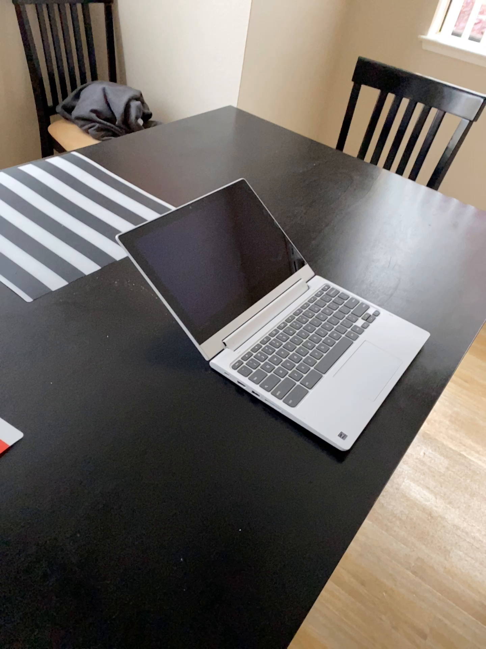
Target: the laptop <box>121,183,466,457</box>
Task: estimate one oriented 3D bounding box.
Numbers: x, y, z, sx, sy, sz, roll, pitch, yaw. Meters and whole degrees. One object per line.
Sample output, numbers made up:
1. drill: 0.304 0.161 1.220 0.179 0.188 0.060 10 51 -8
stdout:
1. laptop: 0.069 -0.043 0.697 0.381 0.105 0.286 31 44 22
